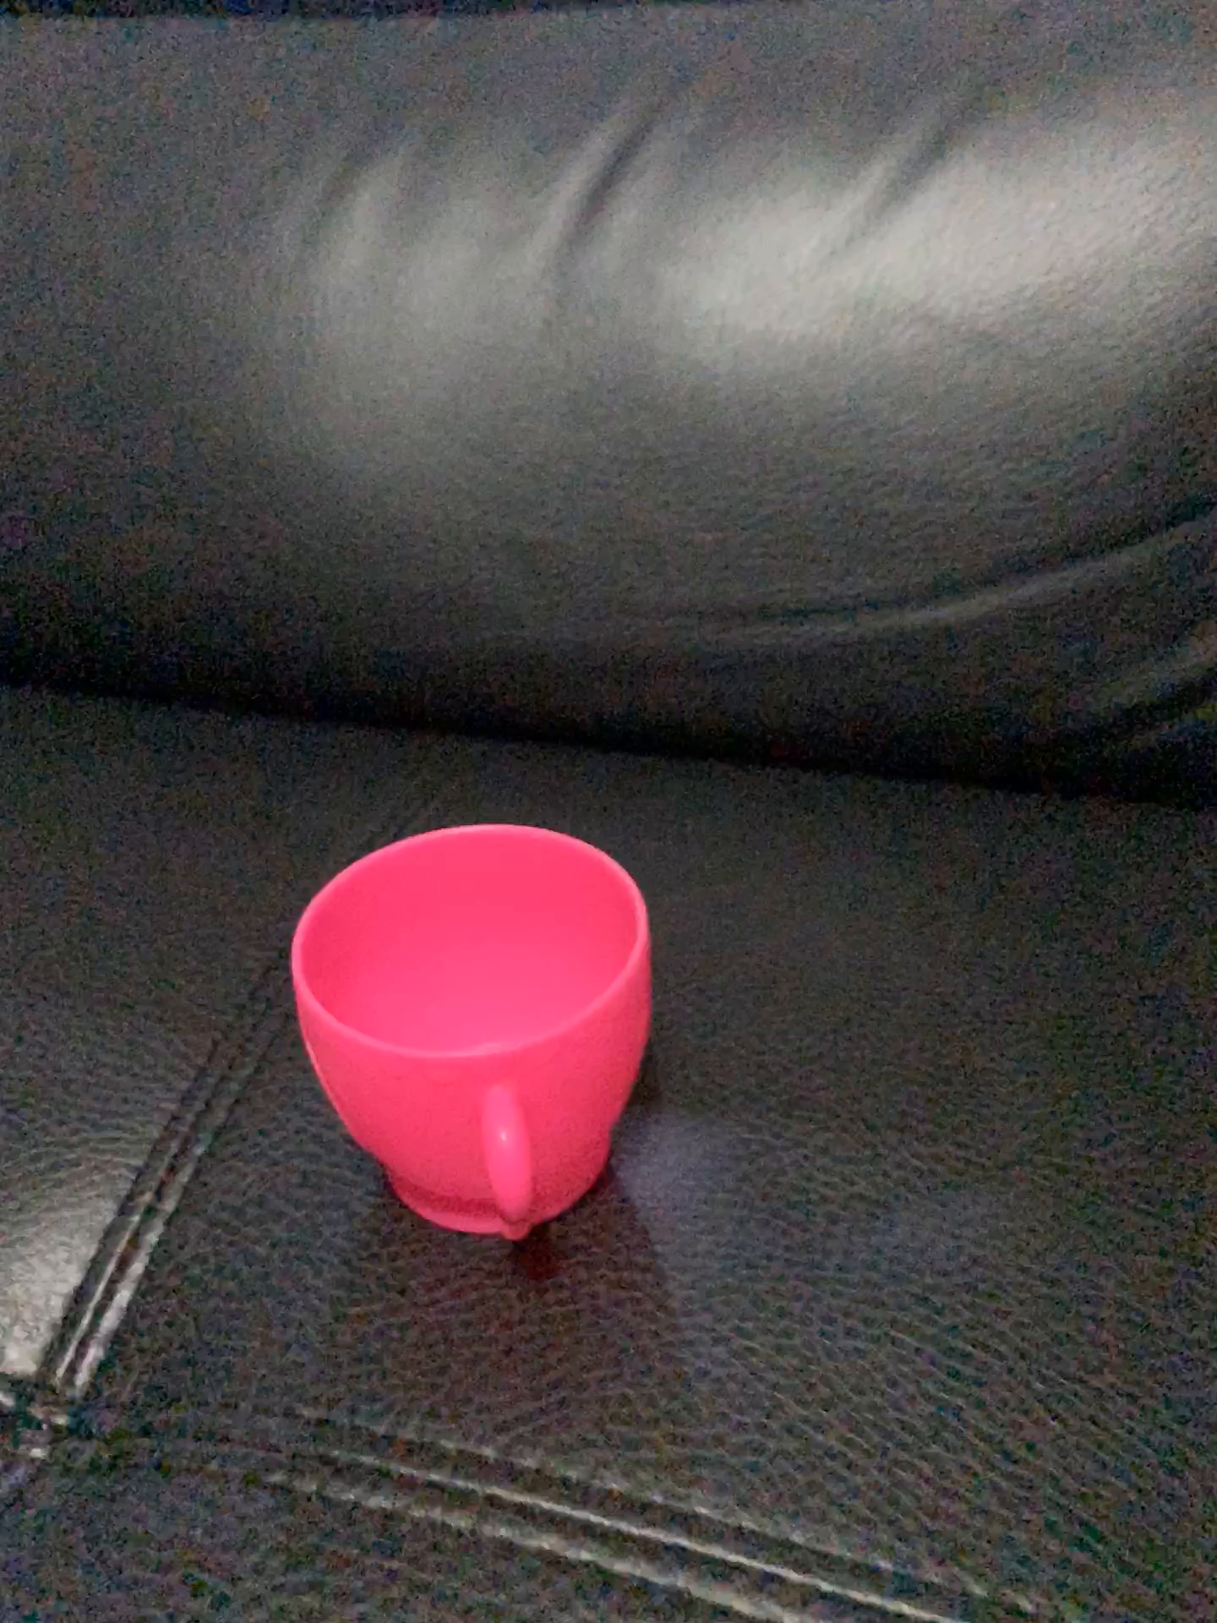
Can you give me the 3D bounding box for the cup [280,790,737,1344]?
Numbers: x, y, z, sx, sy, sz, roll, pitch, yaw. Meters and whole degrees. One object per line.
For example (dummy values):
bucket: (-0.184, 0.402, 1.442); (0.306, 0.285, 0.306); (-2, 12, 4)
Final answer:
cup: (-0.017, 0.038, 0.213); (0.061, 0.047, 0.073); (-5, 31, -7)
